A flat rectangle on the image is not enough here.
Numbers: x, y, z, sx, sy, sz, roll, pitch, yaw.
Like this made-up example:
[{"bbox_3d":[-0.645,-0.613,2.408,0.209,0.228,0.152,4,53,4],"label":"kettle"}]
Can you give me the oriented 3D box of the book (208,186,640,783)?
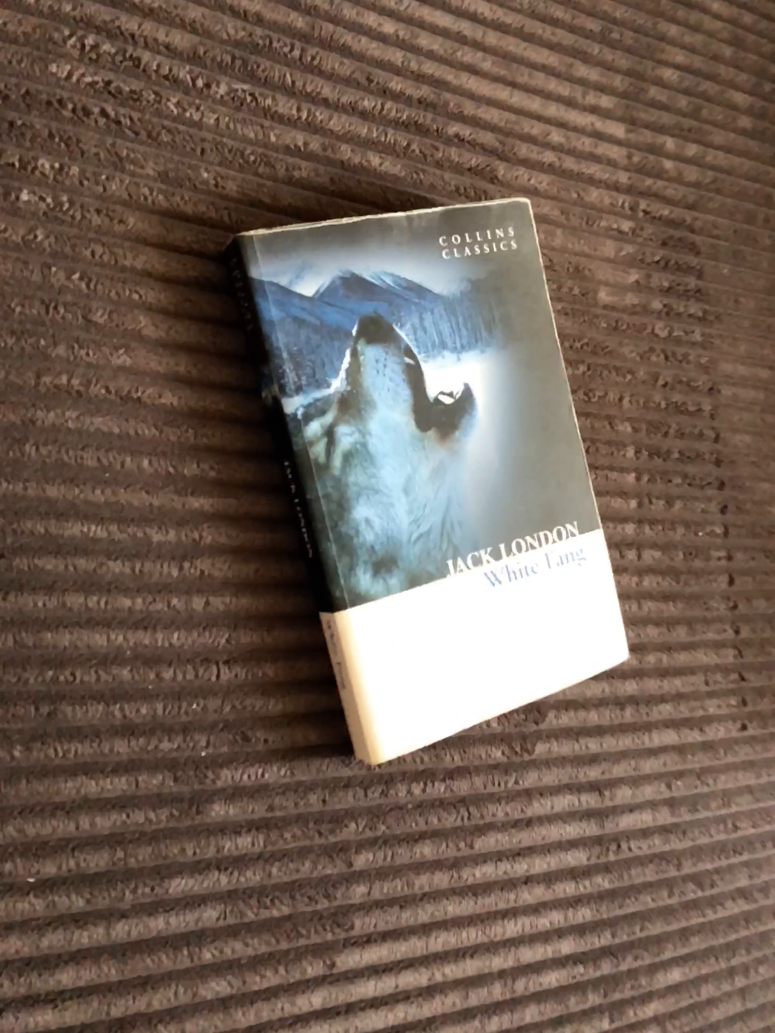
[{"bbox_3d":[0.016,-0.015,0.297,0.115,0.030,0.178,-14,95,-20],"label":"book"}]
